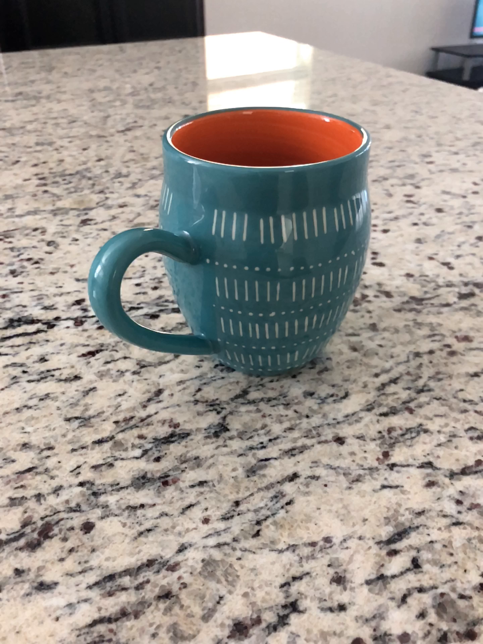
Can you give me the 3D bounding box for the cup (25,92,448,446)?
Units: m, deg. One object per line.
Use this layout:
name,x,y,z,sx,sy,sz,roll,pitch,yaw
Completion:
cup,-0.003,-0.041,0.265,0.151,0.099,0.111,-21,40,-27
